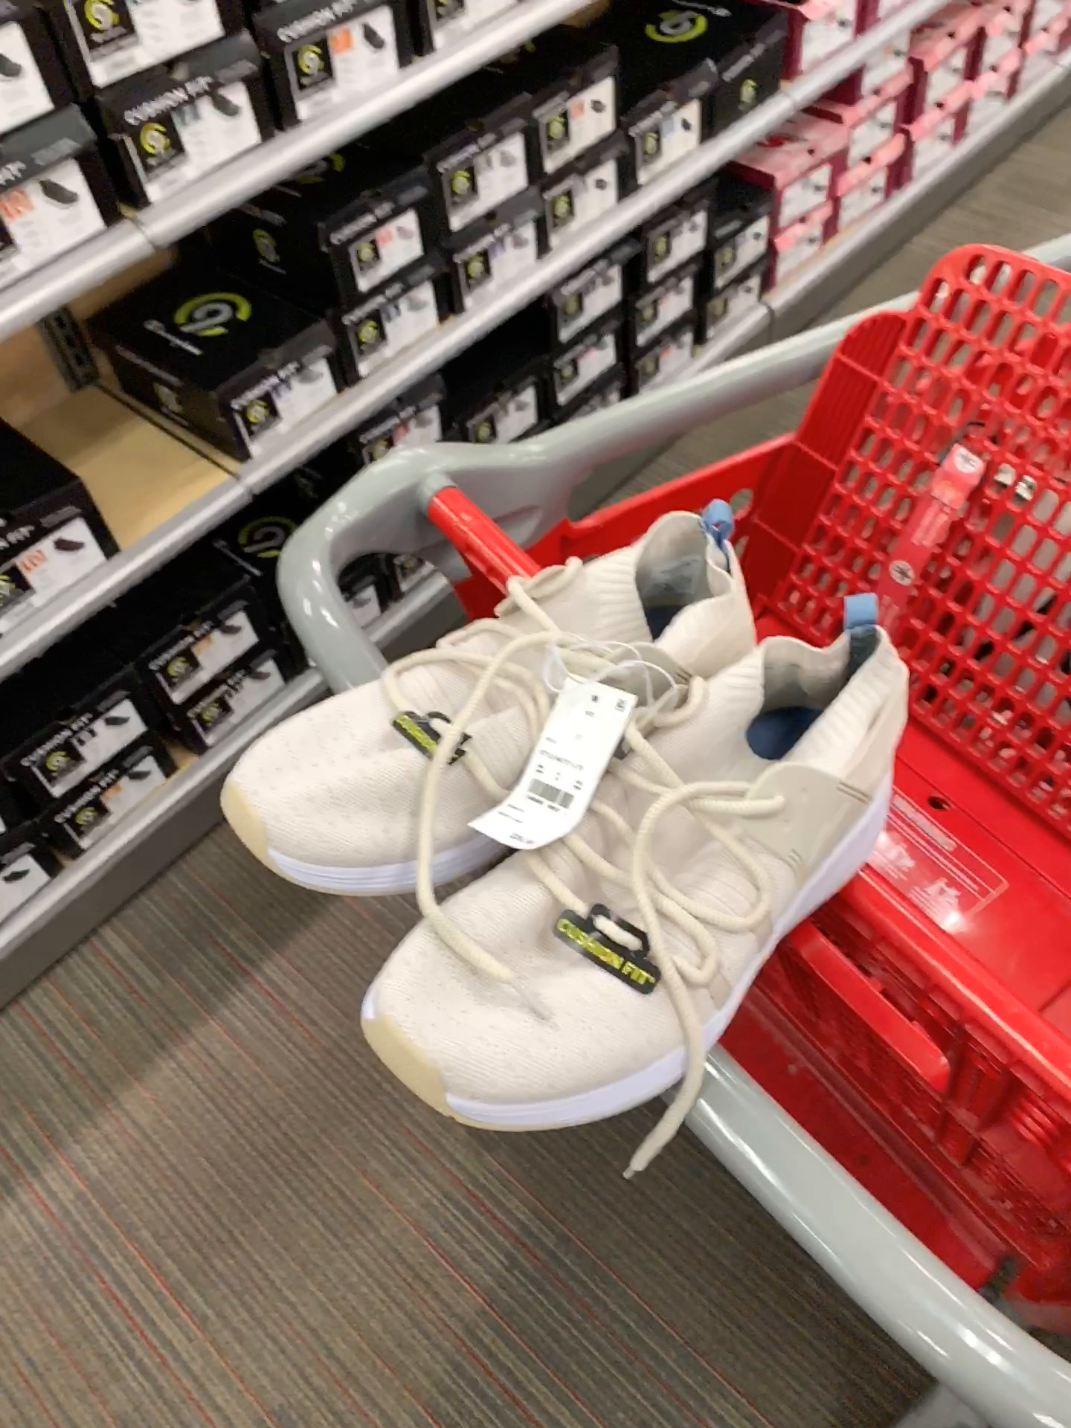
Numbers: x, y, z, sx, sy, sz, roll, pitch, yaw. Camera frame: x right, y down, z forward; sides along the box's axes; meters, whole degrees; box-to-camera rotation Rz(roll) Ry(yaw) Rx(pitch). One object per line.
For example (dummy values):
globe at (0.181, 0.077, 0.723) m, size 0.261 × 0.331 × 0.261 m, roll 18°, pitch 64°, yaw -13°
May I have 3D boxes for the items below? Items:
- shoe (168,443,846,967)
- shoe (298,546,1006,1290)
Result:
shoe at (-0.006, -0.020, 0.503) m, size 0.280 × 0.110 × 0.110 m, roll -23°, pitch 53°, yaw -32°
shoe at (0.056, 0.058, 0.435) m, size 0.110 × 0.110 × 0.280 m, roll 34°, pitch 50°, yaw 26°
